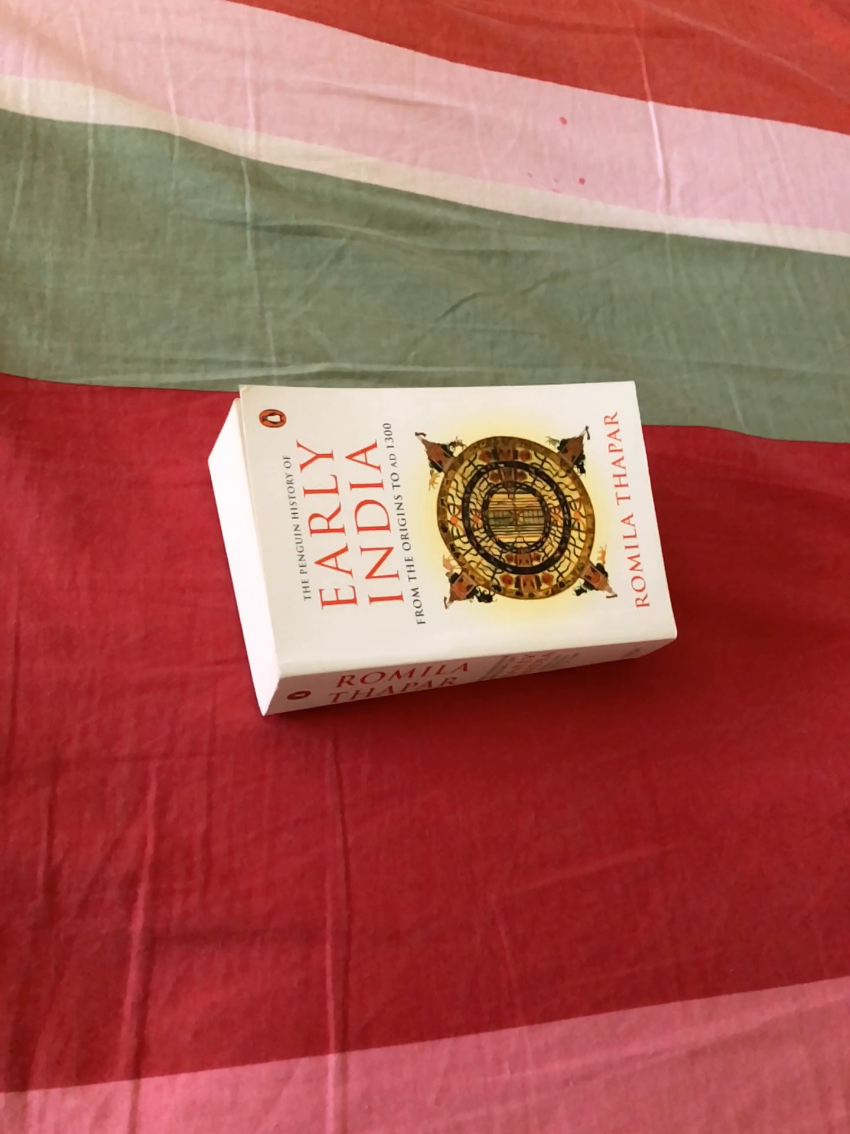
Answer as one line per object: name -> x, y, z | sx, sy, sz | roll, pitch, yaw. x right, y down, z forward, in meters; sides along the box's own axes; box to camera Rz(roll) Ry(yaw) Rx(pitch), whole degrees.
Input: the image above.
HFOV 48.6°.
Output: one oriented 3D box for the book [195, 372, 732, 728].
book -> 0.017, -0.014, 0.414 | 0.201, 0.070, 0.120 | -6, 67, -29
